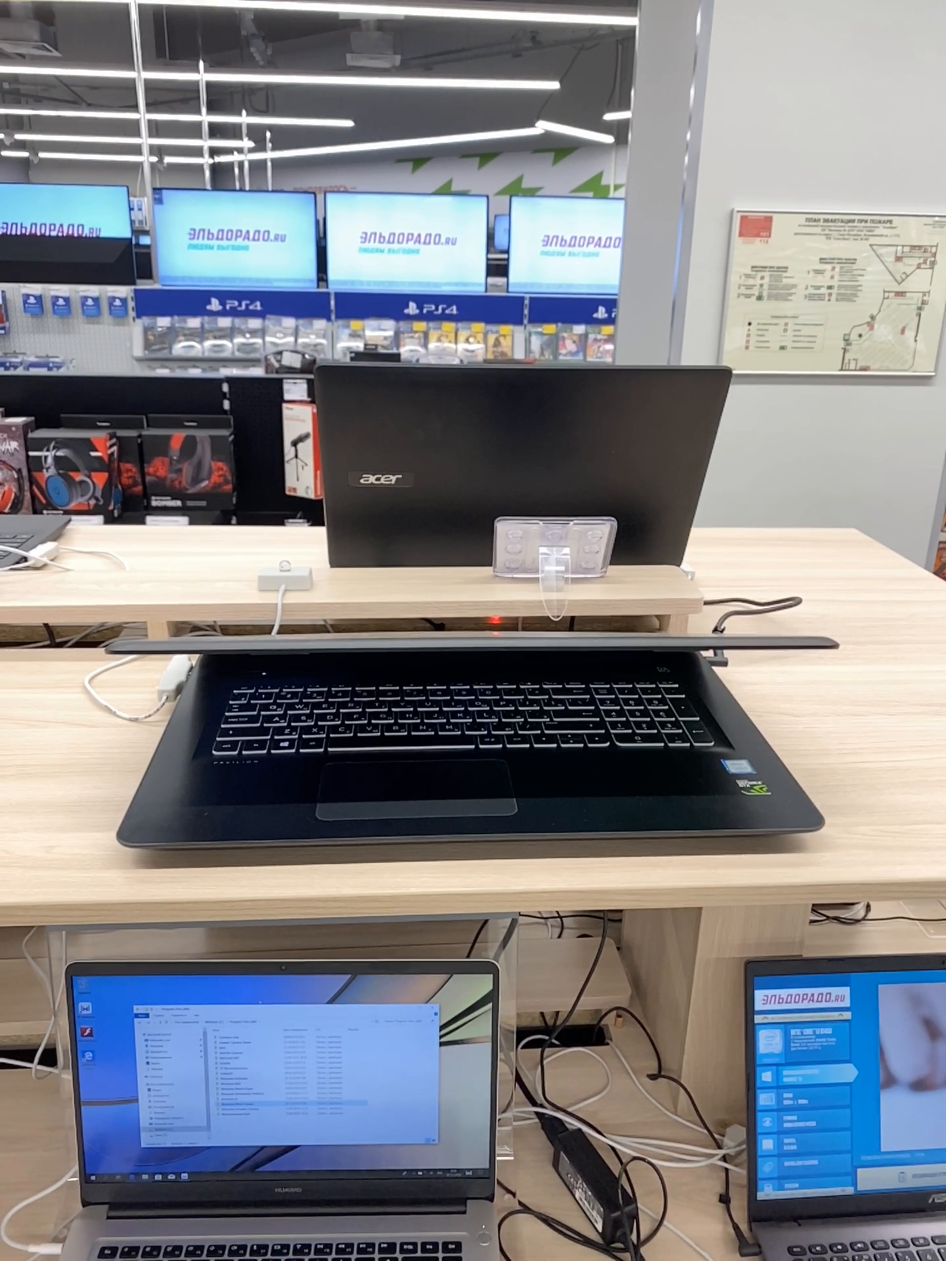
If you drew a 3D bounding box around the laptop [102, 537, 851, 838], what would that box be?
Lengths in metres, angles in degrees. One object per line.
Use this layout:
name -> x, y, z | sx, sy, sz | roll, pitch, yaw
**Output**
laptop -> -0.004, 0.021, 0.671 | 0.413, 0.095, 0.269 | 0, 22, -4
